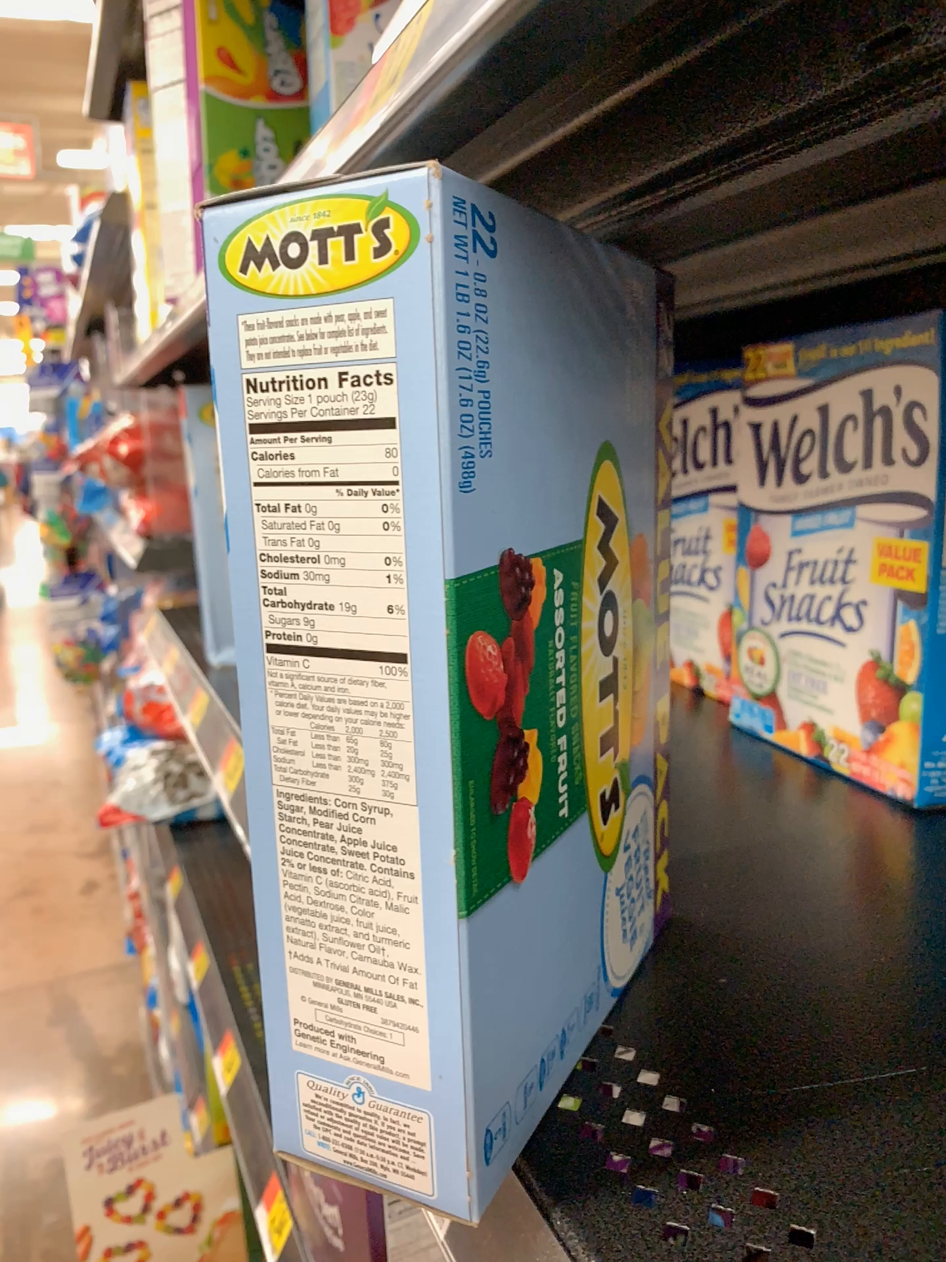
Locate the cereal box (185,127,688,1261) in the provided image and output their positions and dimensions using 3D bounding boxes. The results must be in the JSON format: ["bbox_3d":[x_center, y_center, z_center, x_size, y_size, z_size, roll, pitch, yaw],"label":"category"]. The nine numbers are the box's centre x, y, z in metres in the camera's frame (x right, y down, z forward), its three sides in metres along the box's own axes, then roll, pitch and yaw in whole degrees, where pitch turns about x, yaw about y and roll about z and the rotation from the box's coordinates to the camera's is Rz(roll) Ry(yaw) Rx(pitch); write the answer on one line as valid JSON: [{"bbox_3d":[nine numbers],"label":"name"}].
[{"bbox_3d":[0.012,0.009,0.291,0.060,0.239,0.180,3,12,25],"label":"cereal box"}]
